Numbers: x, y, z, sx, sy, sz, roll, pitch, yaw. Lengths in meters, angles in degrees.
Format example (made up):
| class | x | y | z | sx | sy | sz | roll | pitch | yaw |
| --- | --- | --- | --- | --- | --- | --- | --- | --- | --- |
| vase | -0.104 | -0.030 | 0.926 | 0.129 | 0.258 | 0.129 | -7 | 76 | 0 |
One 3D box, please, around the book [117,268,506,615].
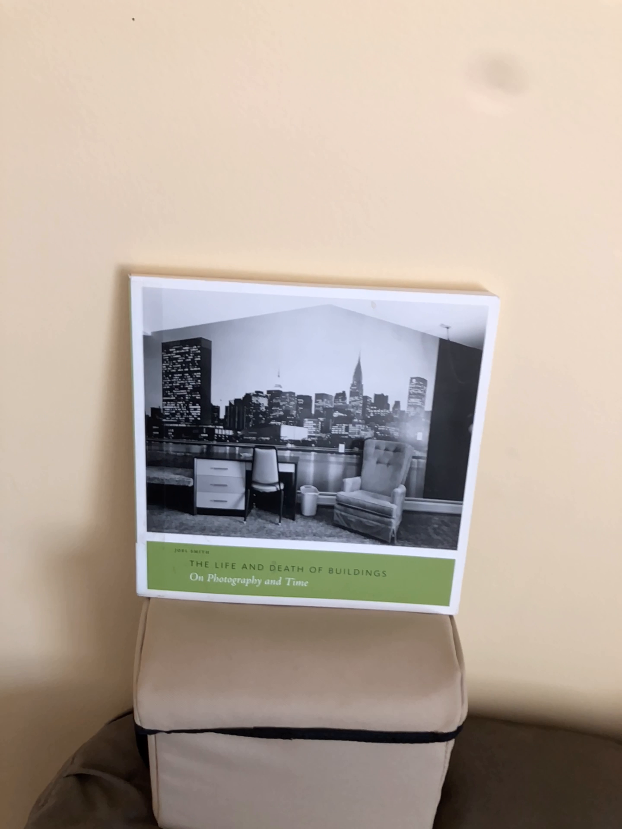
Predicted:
| class | x | y | z | sx | sy | sz | roll | pitch | yaw |
| --- | --- | --- | --- | --- | --- | --- | --- | --- | --- |
| book | -0.005 | 0.022 | 0.420 | 0.216 | 0.203 | 0.020 | 3 | 16 | -4 |
